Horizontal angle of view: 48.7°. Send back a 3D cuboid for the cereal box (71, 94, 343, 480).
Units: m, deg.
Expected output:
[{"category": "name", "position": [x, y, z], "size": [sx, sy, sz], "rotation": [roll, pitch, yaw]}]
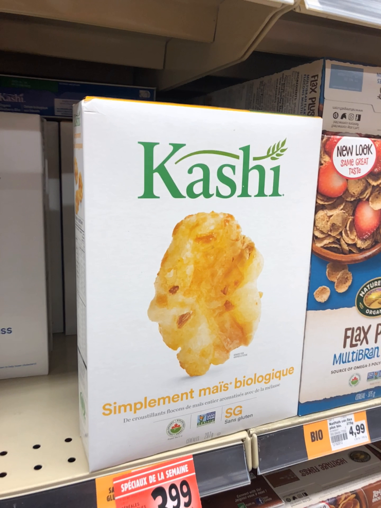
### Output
[{"category": "cereal box", "position": [0.011, 0.023, 0.348], "size": [0.200, 0.269, 0.060], "rotation": [-4, 14, -24]}]
